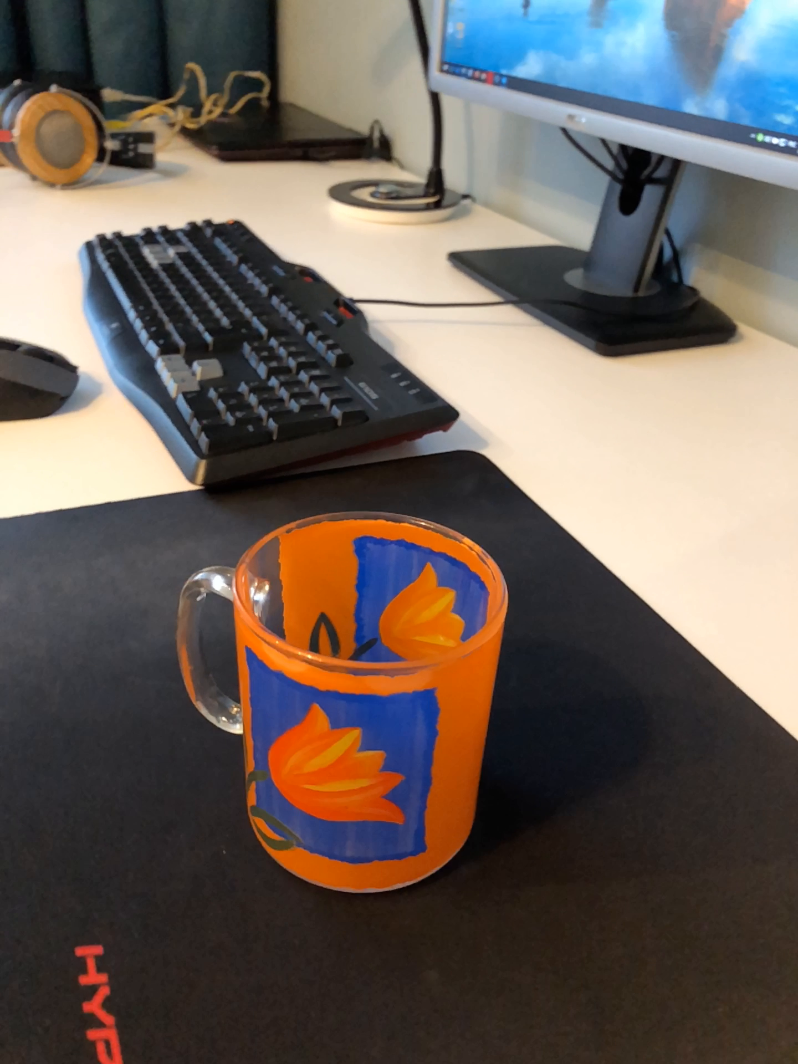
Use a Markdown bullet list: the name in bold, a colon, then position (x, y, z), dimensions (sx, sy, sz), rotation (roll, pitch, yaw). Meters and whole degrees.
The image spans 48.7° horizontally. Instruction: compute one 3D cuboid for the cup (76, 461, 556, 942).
- **cup**: position (-0.022, 0.046, 0.273), dimensions (0.114, 0.089, 0.076), rotation (15, 33, 19)
